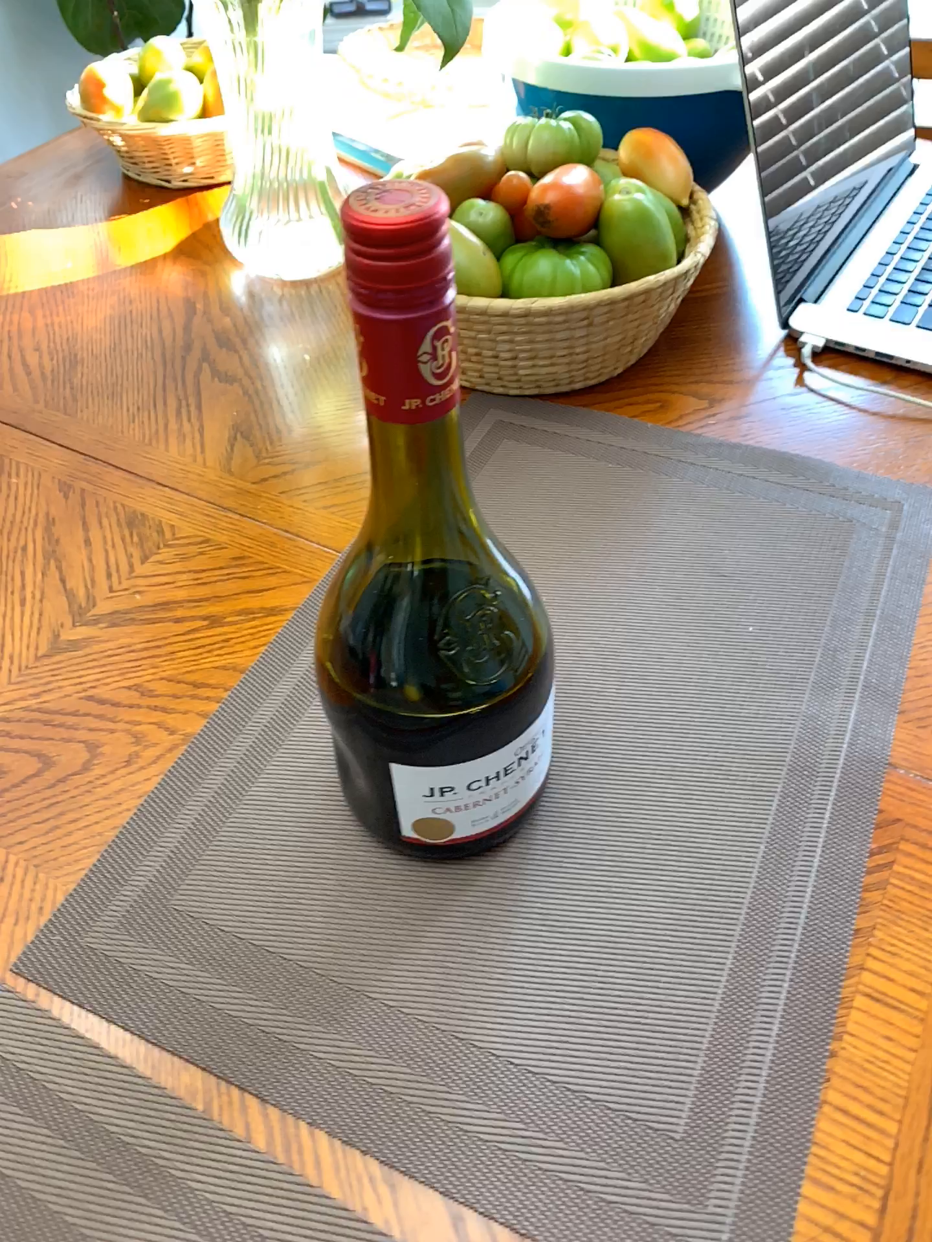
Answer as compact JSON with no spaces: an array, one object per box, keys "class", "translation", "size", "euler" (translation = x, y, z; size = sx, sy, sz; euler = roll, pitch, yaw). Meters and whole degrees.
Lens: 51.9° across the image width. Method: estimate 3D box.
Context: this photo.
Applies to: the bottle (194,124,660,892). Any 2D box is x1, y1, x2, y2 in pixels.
[{"class":"bottle","translation":[-0.012,-0.022,0.354],"size":[0.100,0.258,0.101],"euler":[-1,46,1]}]
